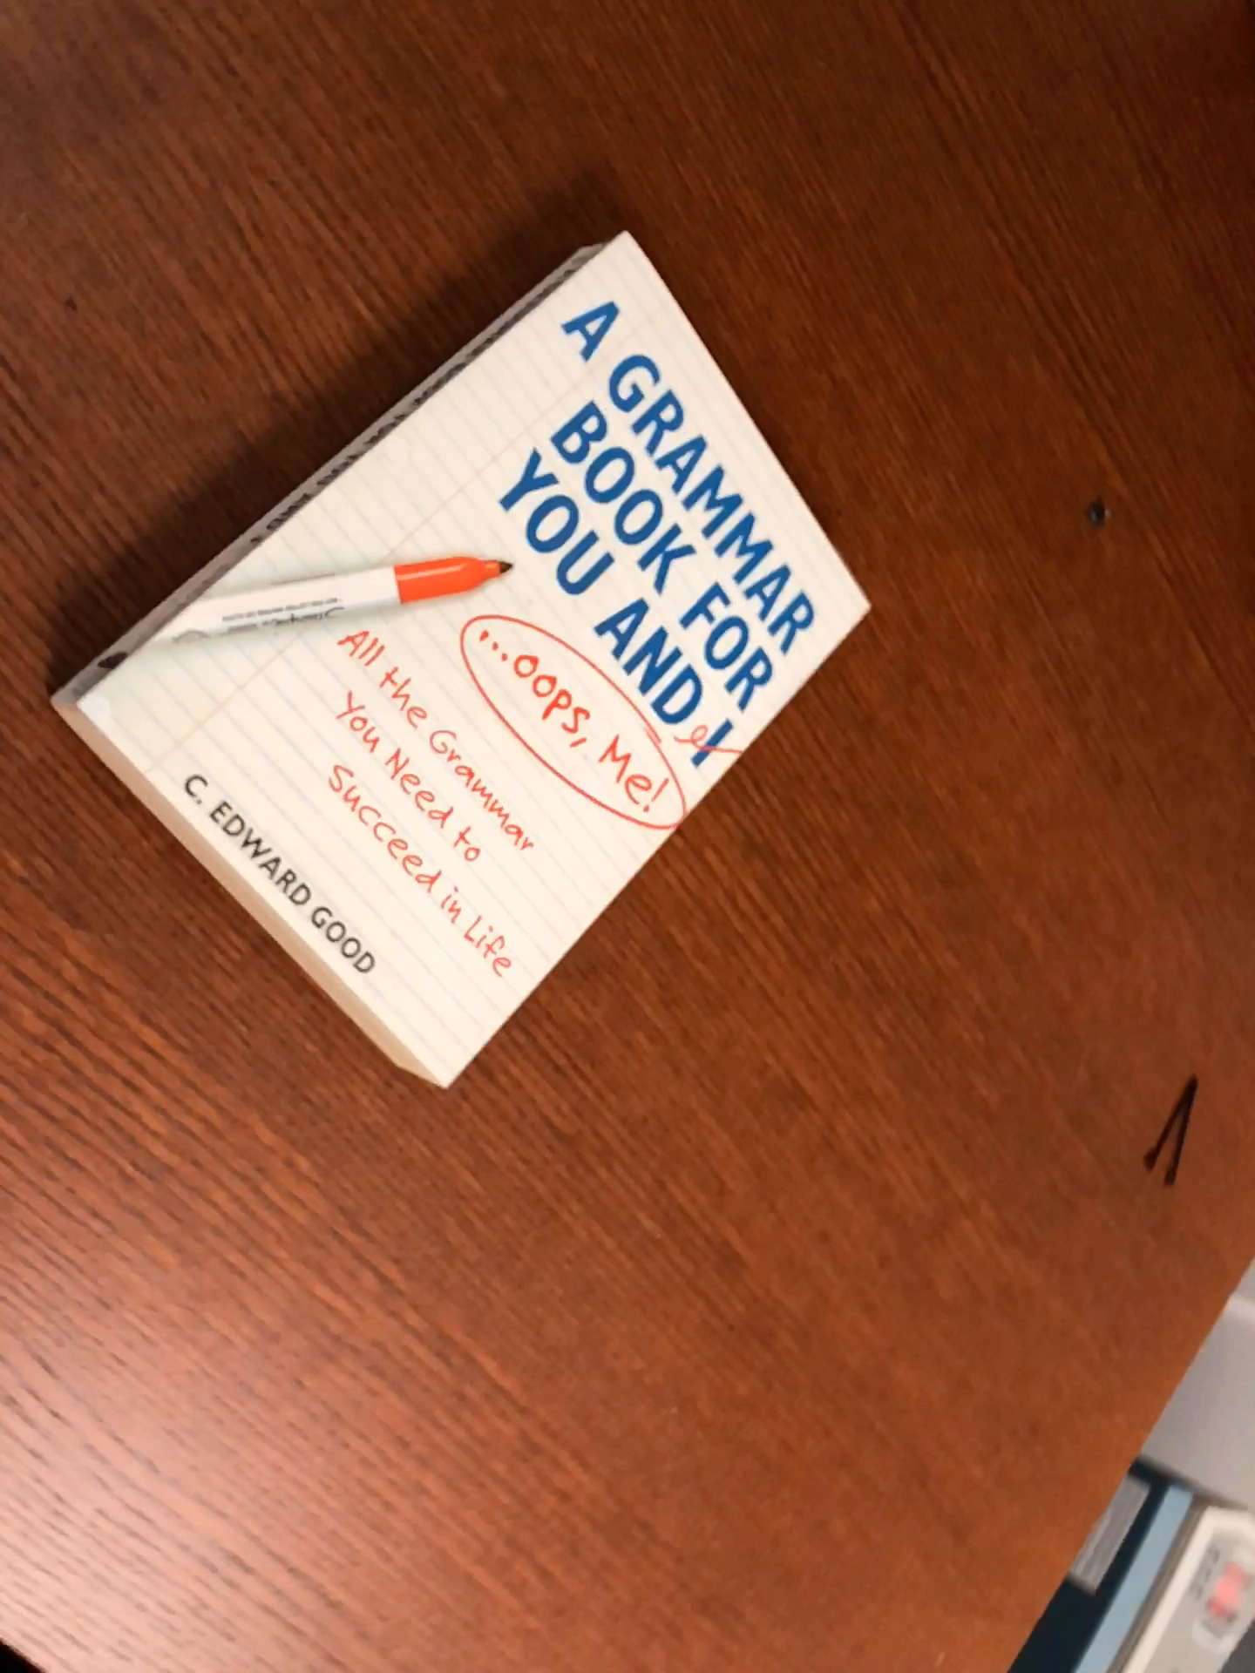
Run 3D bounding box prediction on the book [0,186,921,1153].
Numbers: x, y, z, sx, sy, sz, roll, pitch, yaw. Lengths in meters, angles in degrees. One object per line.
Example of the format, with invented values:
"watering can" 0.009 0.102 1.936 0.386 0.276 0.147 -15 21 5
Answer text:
"book" -0.031 -0.054 0.427 0.241 0.040 0.170 -47 115 -22
